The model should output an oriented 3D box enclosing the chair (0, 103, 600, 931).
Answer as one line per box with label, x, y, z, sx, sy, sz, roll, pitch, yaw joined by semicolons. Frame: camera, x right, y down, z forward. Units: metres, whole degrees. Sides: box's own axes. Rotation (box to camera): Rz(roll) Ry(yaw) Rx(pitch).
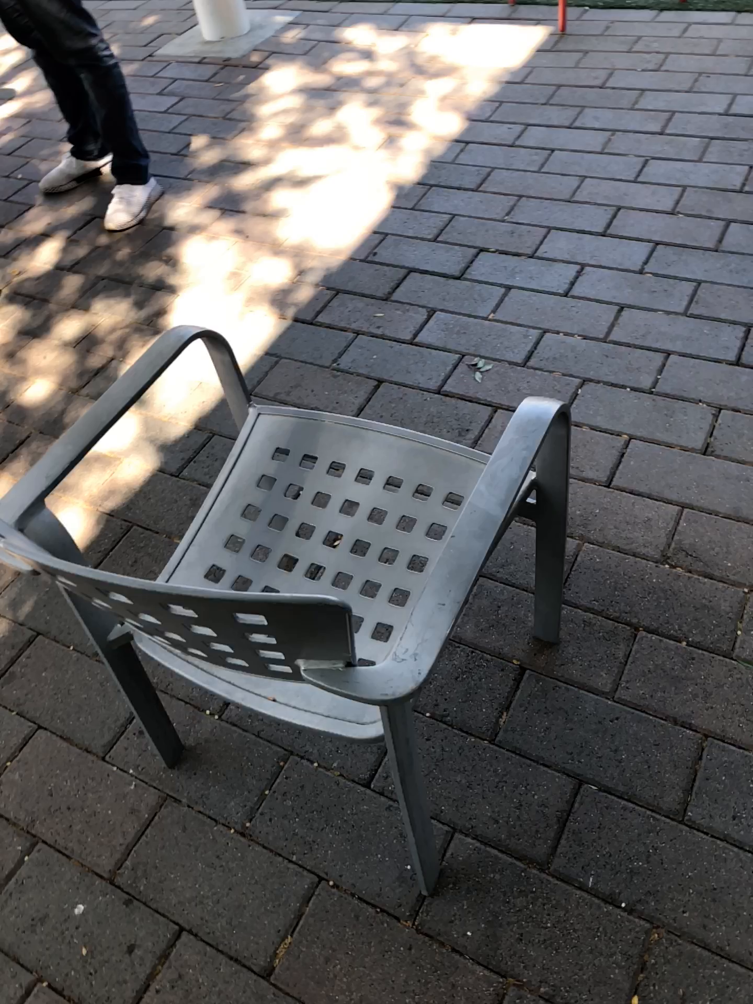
chair;-0.120;0.023;1.081;0.632;0.776;0.591;15;55;24
